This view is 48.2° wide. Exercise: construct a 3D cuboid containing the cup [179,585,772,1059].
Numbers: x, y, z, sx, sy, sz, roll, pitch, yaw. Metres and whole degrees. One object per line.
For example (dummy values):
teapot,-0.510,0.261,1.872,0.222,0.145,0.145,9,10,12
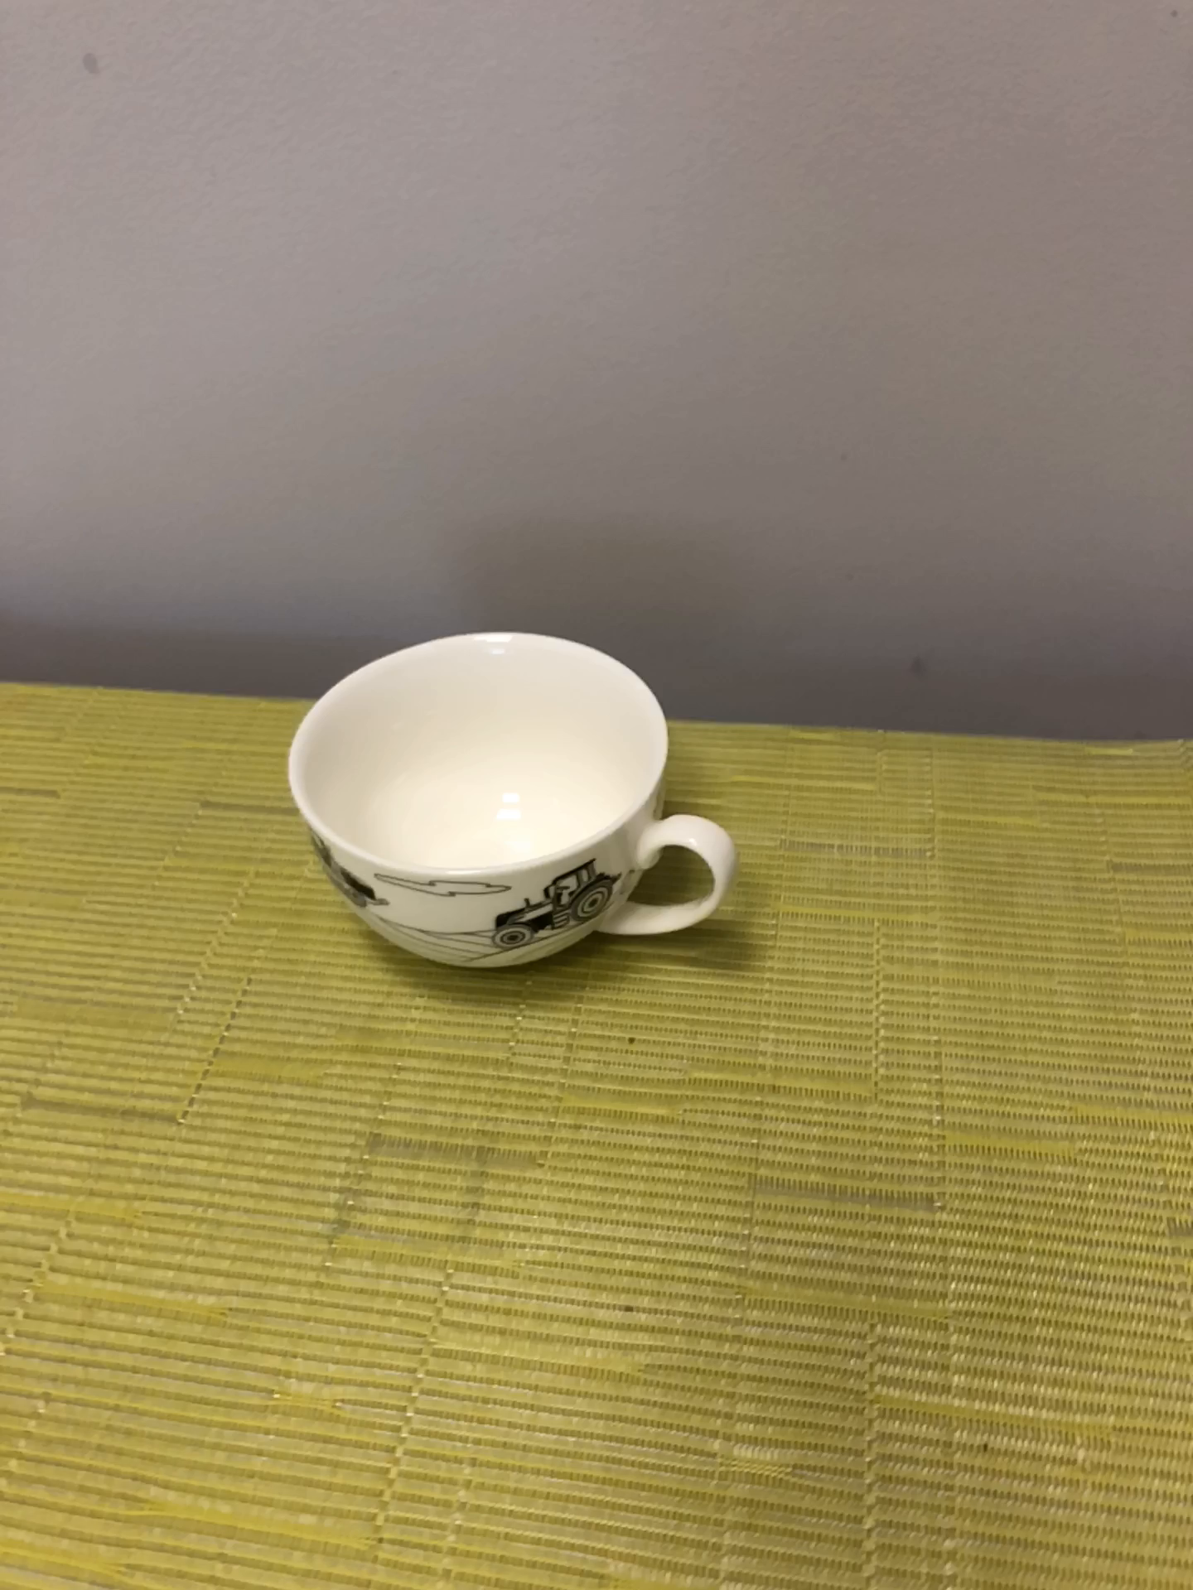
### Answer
cup,-0.025,0.001,0.333,0.113,0.051,0.089,13,43,19
